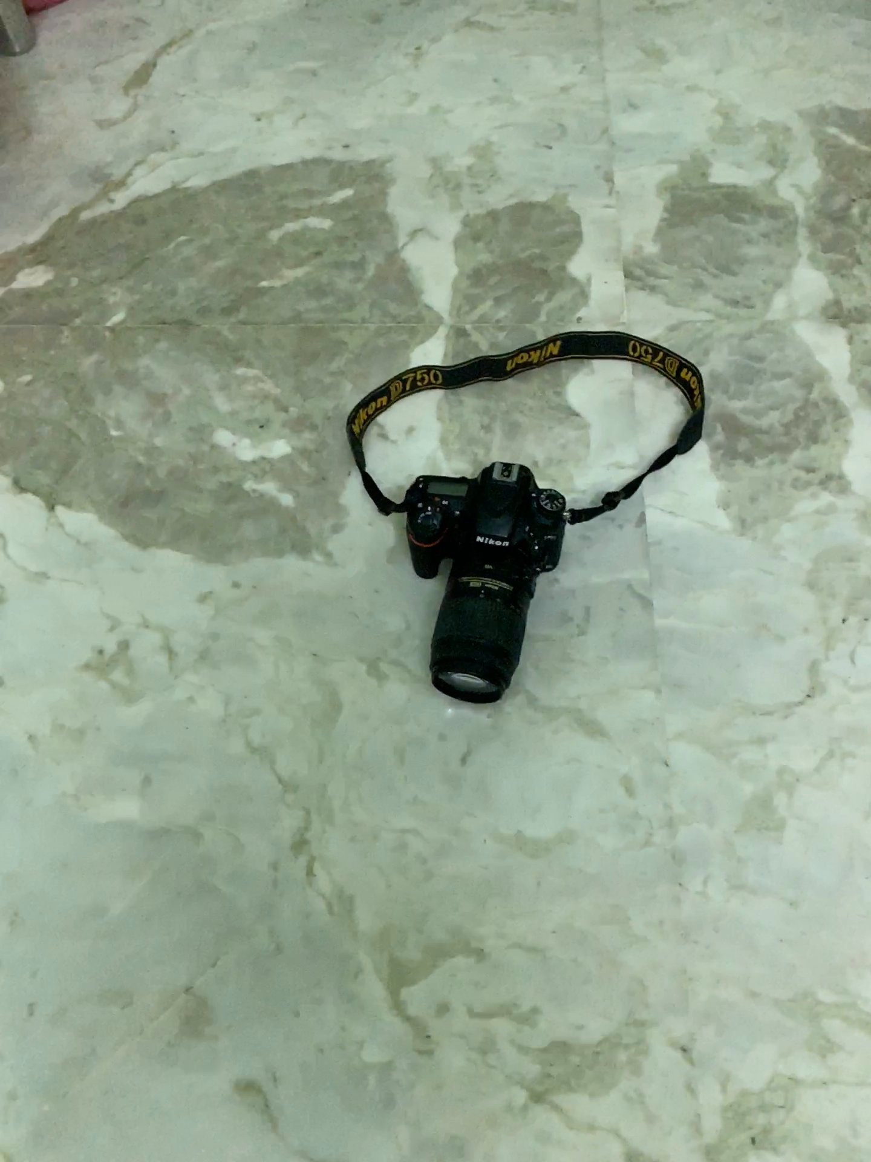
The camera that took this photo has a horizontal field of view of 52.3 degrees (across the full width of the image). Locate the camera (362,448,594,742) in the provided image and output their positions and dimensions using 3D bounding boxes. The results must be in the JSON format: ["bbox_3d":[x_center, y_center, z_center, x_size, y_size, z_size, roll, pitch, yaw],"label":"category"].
[{"bbox_3d":[0.043,0.009,0.766,0.150,0.120,0.200,9,58,10],"label":"camera"}]
